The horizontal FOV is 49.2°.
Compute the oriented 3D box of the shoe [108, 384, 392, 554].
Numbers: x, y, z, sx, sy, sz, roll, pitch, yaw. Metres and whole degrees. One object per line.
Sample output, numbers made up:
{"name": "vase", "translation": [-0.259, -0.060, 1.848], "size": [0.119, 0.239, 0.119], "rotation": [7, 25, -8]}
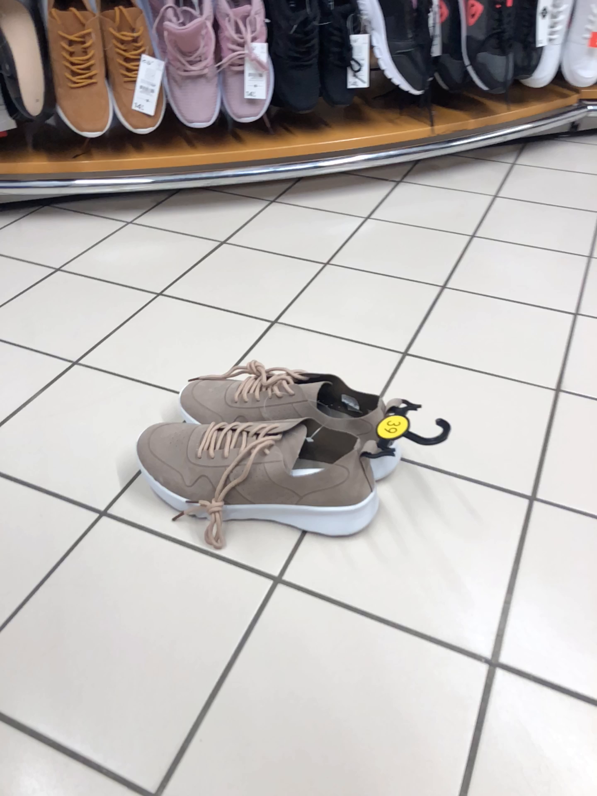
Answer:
{"name": "shoe", "translation": [-0.044, 0.067, 0.659], "size": [0.257, 0.079, 0.101], "rotation": [9, 40, 11]}

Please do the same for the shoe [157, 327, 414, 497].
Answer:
{"name": "shoe", "translation": [-0.012, 0.010, 0.723], "size": [0.254, 0.099, 0.101], "rotation": [12, 40, 14]}
